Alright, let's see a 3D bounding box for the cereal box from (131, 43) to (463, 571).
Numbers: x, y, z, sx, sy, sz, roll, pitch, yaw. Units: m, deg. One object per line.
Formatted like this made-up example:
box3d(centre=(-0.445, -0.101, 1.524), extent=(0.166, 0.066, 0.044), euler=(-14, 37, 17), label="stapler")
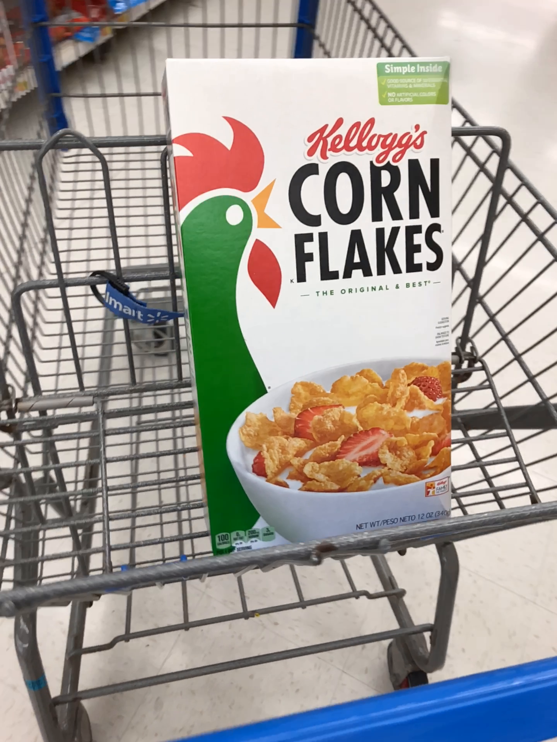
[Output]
box3d(centre=(0.021, -0.043, 0.451), extent=(0.210, 0.340, 0.070), euler=(-7, 13, -11), label="cereal box")
